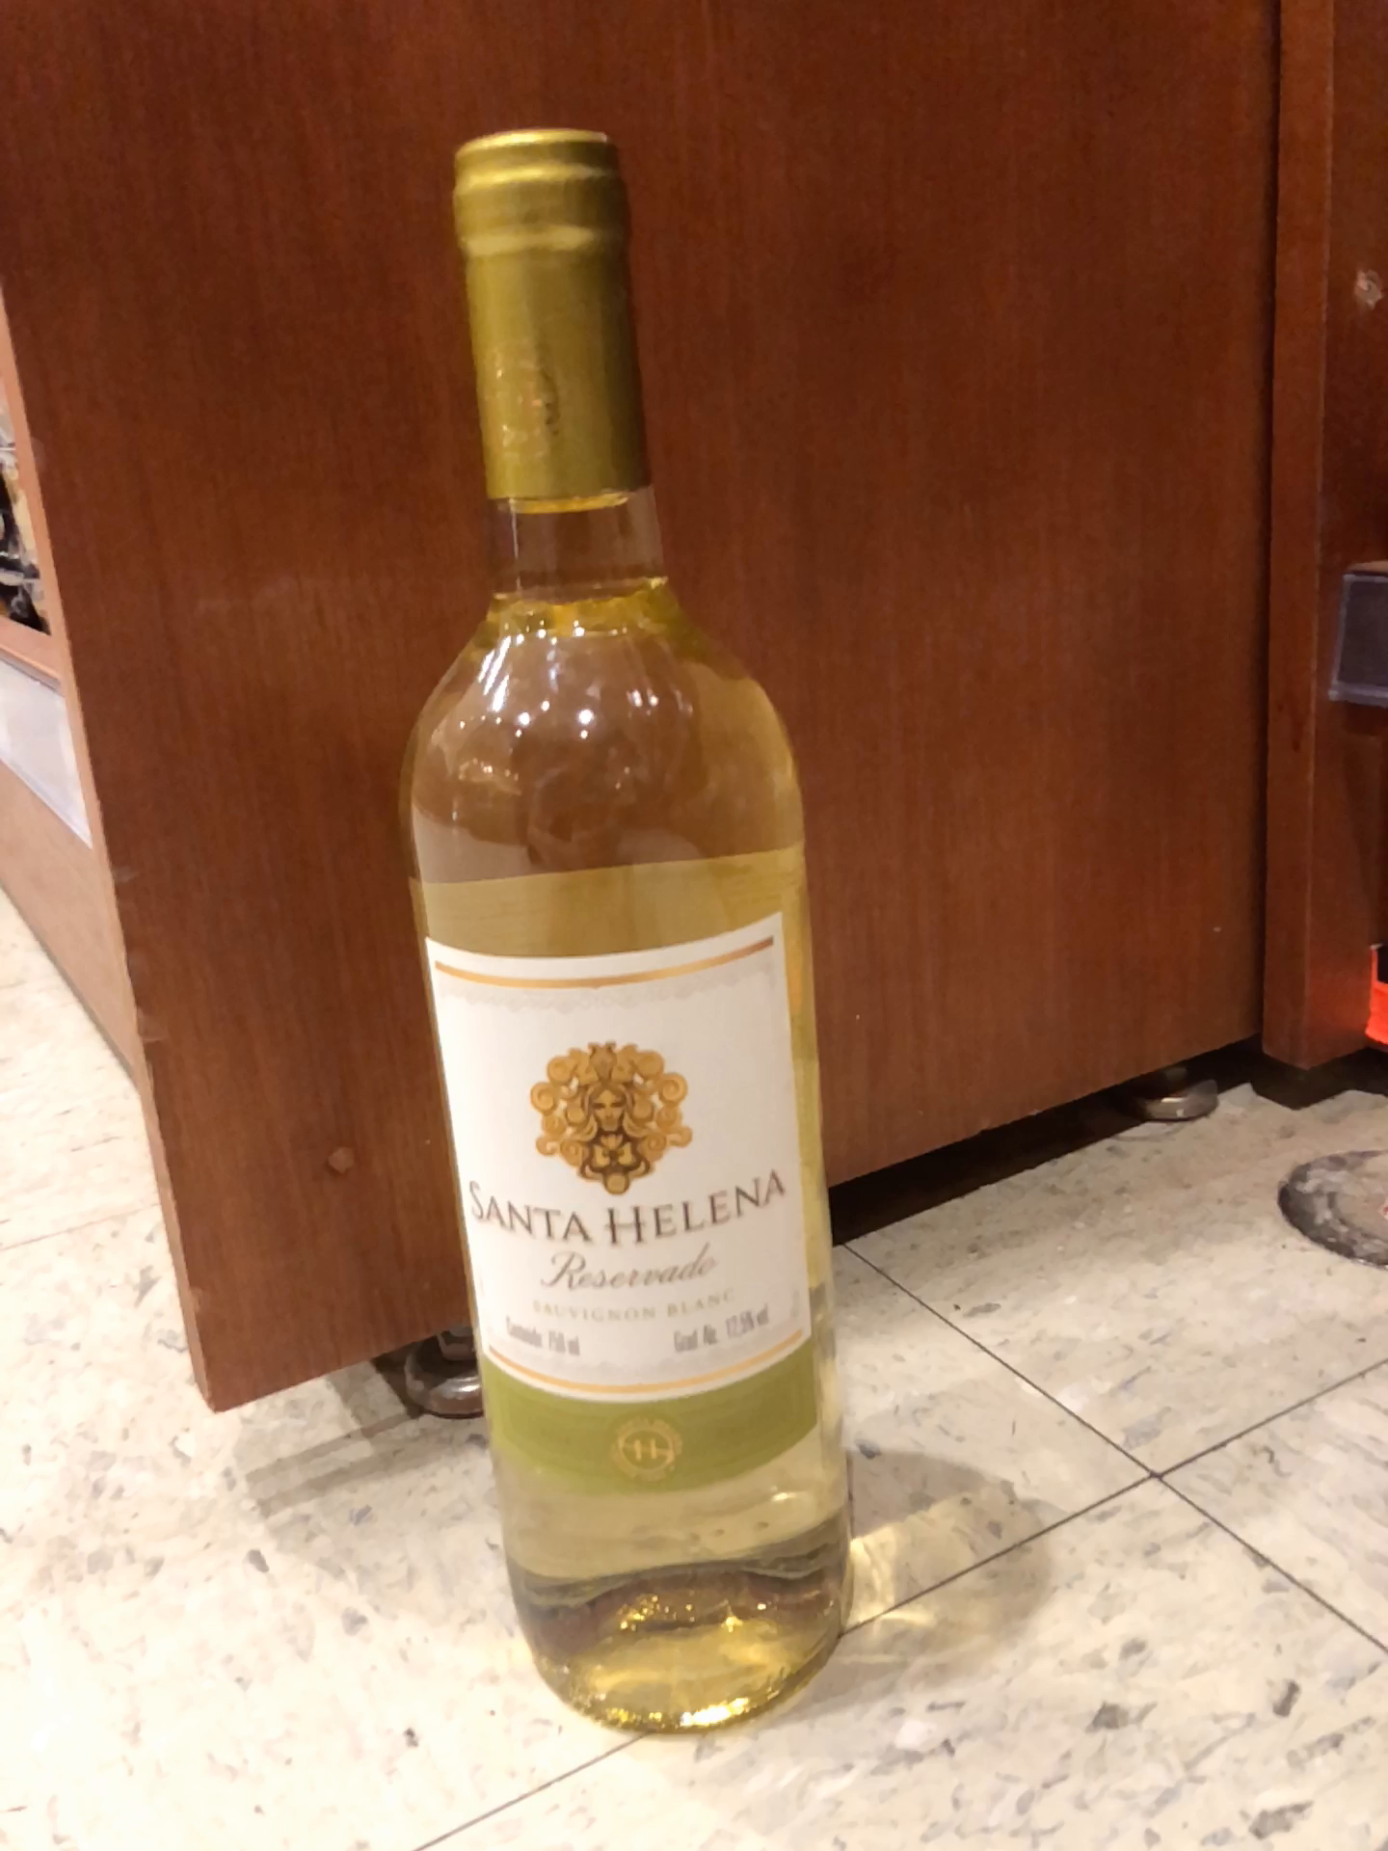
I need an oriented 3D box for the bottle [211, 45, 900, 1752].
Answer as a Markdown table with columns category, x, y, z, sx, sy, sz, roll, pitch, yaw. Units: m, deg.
| category | x | y | z | sx | sy | sz | roll | pitch | yaw |
| --- | --- | --- | --- | --- | --- | --- | --- | --- | --- |
| bottle | -0.011 | 0.009 | 0.277 | 0.080 | 0.278 | 0.070 | -3 | 17 | 7 |
